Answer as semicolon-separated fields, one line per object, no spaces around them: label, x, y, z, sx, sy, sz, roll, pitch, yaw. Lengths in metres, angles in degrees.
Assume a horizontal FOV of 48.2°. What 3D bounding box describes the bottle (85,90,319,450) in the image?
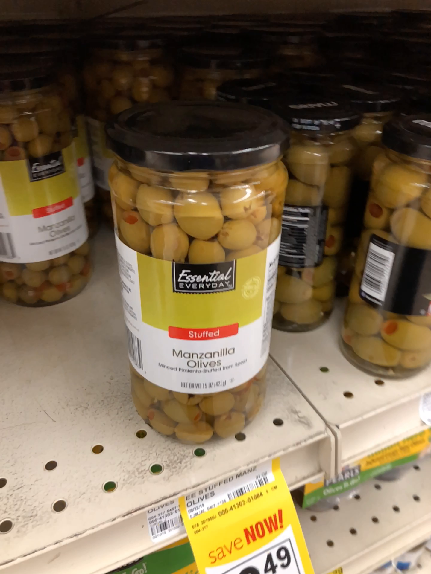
bottle;-0.009;-0.003;0.239;0.080;0.163;0.070;-2;34;-5
